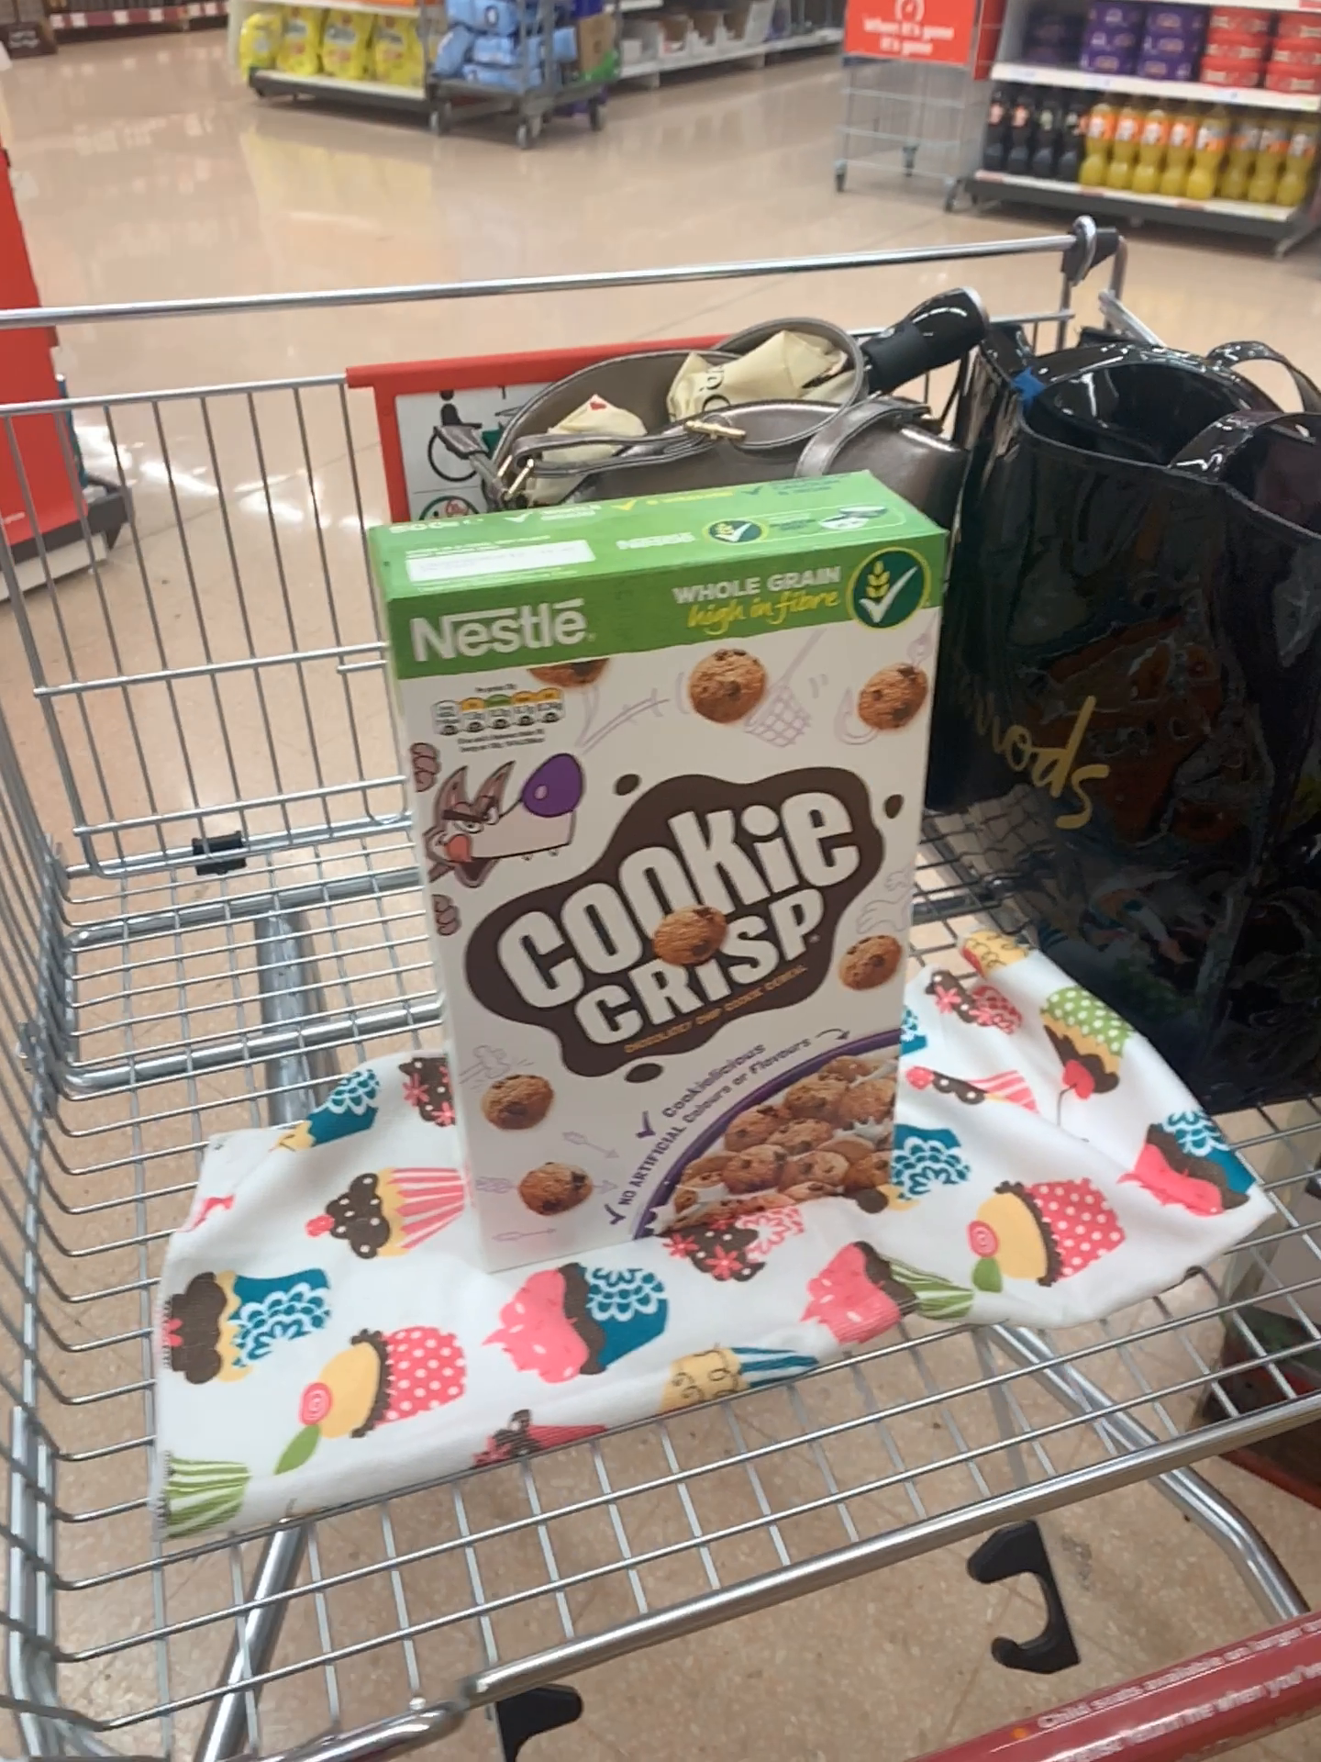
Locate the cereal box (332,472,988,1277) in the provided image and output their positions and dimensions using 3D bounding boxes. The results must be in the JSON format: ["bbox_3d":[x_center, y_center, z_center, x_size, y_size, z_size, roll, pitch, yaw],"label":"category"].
[{"bbox_3d":[0.000,0.005,0.557,0.220,0.307,0.071,-9,33,-14],"label":"cereal box"}]
